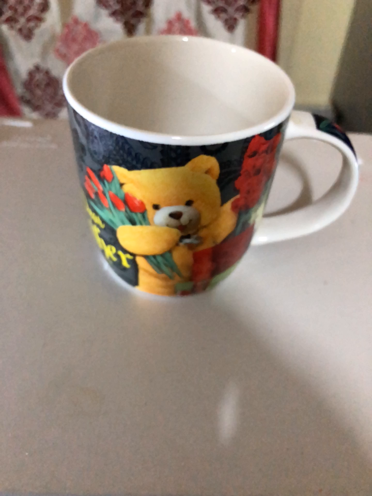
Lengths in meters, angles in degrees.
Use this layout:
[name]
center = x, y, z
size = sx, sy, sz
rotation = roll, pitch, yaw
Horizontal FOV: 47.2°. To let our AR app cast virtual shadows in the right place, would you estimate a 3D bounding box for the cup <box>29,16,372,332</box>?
[cup]
center = 0.021, -0.031, 0.185
size = 0.130, 0.099, 0.081
rotation = 4, 43, 2
